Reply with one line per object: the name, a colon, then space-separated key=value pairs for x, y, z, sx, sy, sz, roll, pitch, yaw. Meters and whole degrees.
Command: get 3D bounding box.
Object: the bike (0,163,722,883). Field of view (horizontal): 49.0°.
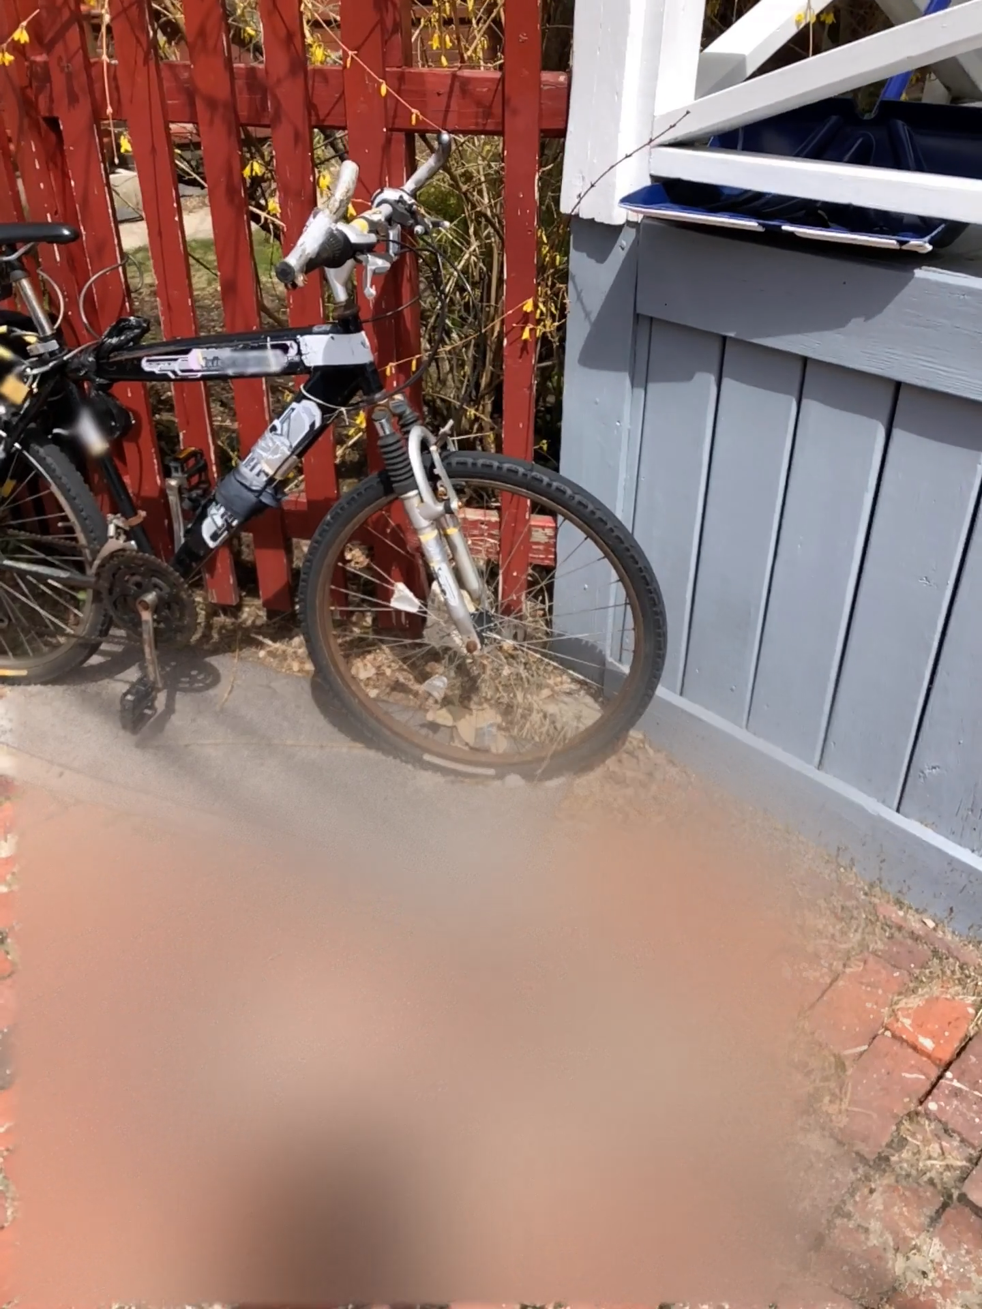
bike: x=-0.539 y=-0.309 z=2.003 sx=1.724 sy=1.000 sz=0.676 roll=7 pitch=32 yaw=12
